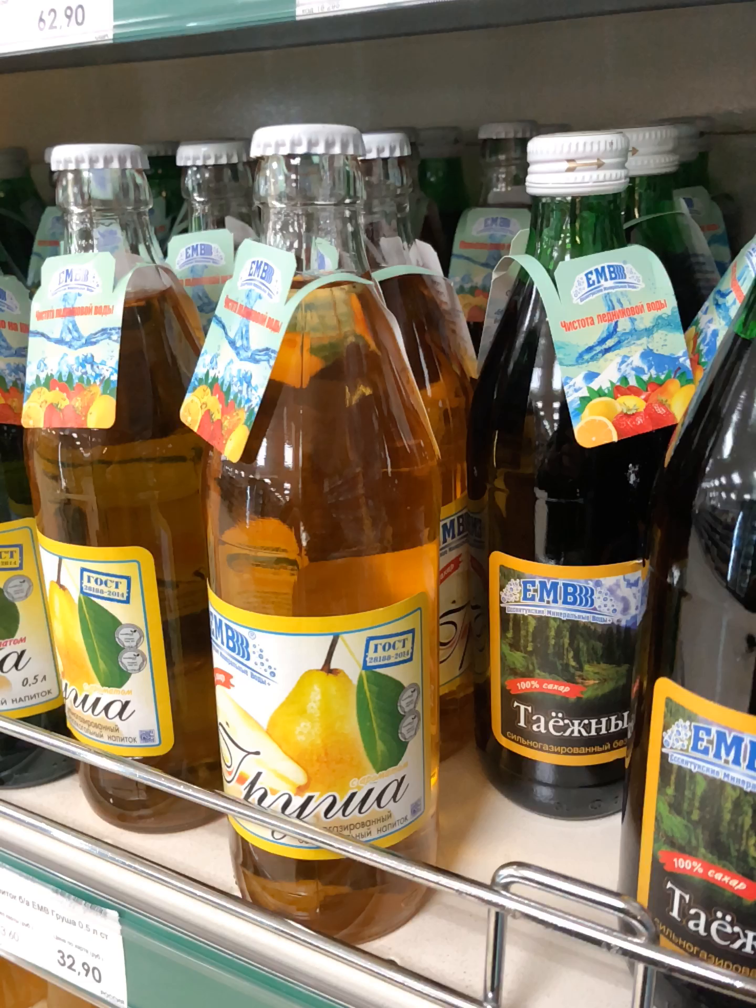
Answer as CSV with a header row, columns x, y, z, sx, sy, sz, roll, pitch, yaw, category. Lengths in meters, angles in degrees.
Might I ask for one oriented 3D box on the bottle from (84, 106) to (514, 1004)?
x,y,z,sx,sy,sz,roll,pitch,yaw,category
-0.012,0.017,0.245,0.080,0.234,0.070,7,23,23,bottle
